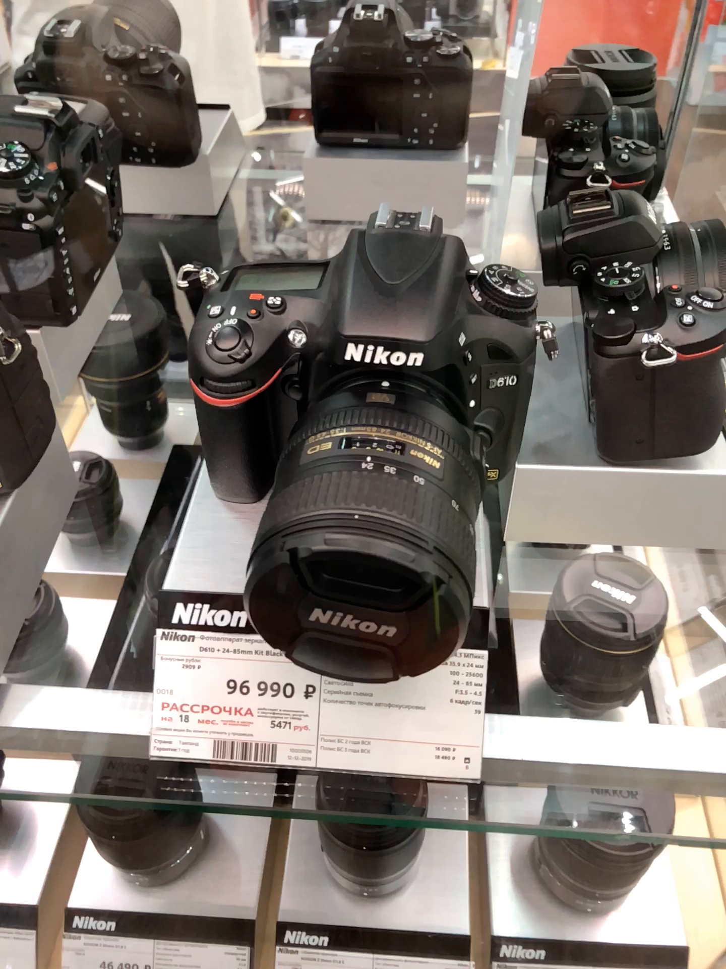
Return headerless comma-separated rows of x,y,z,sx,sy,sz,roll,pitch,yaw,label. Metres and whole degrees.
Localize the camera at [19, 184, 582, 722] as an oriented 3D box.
-0.005,-0.021,0.296,0.148,0.109,0.151,8,44,8,camera
